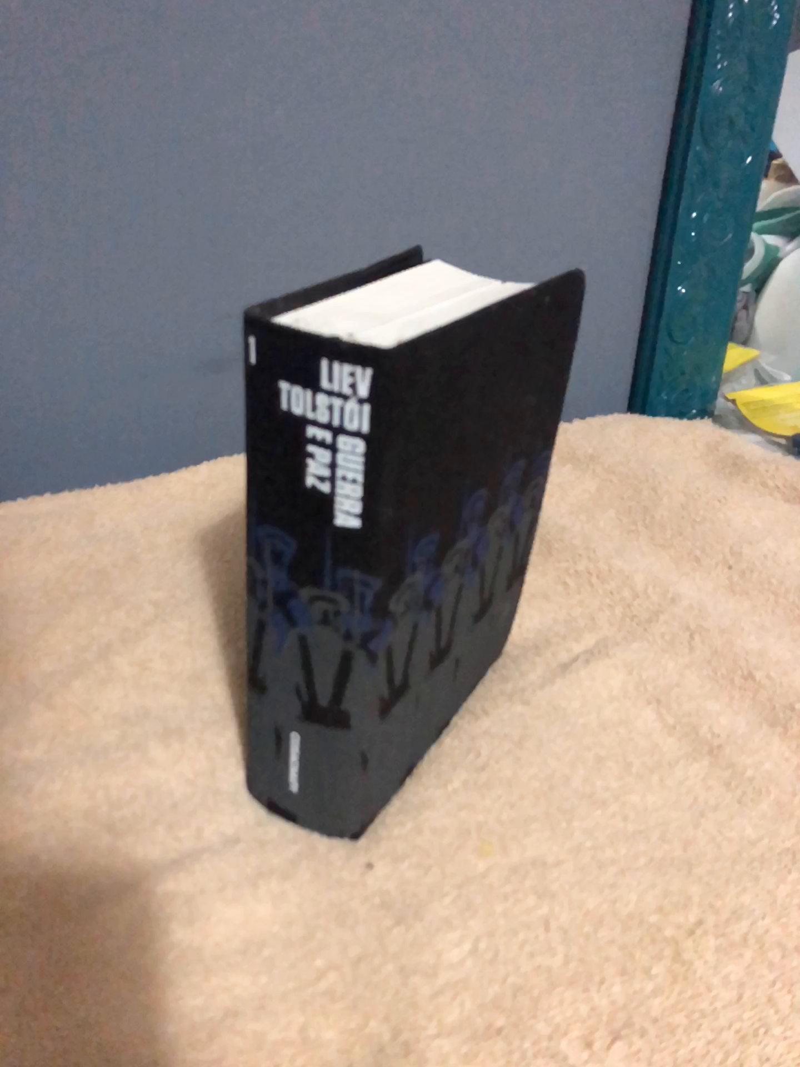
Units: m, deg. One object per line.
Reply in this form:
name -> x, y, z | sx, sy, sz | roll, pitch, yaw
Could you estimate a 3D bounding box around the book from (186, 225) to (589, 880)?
book -> 0.001, -0.003, 0.316 | 0.060, 0.179, 0.151 | 18, 32, 23
